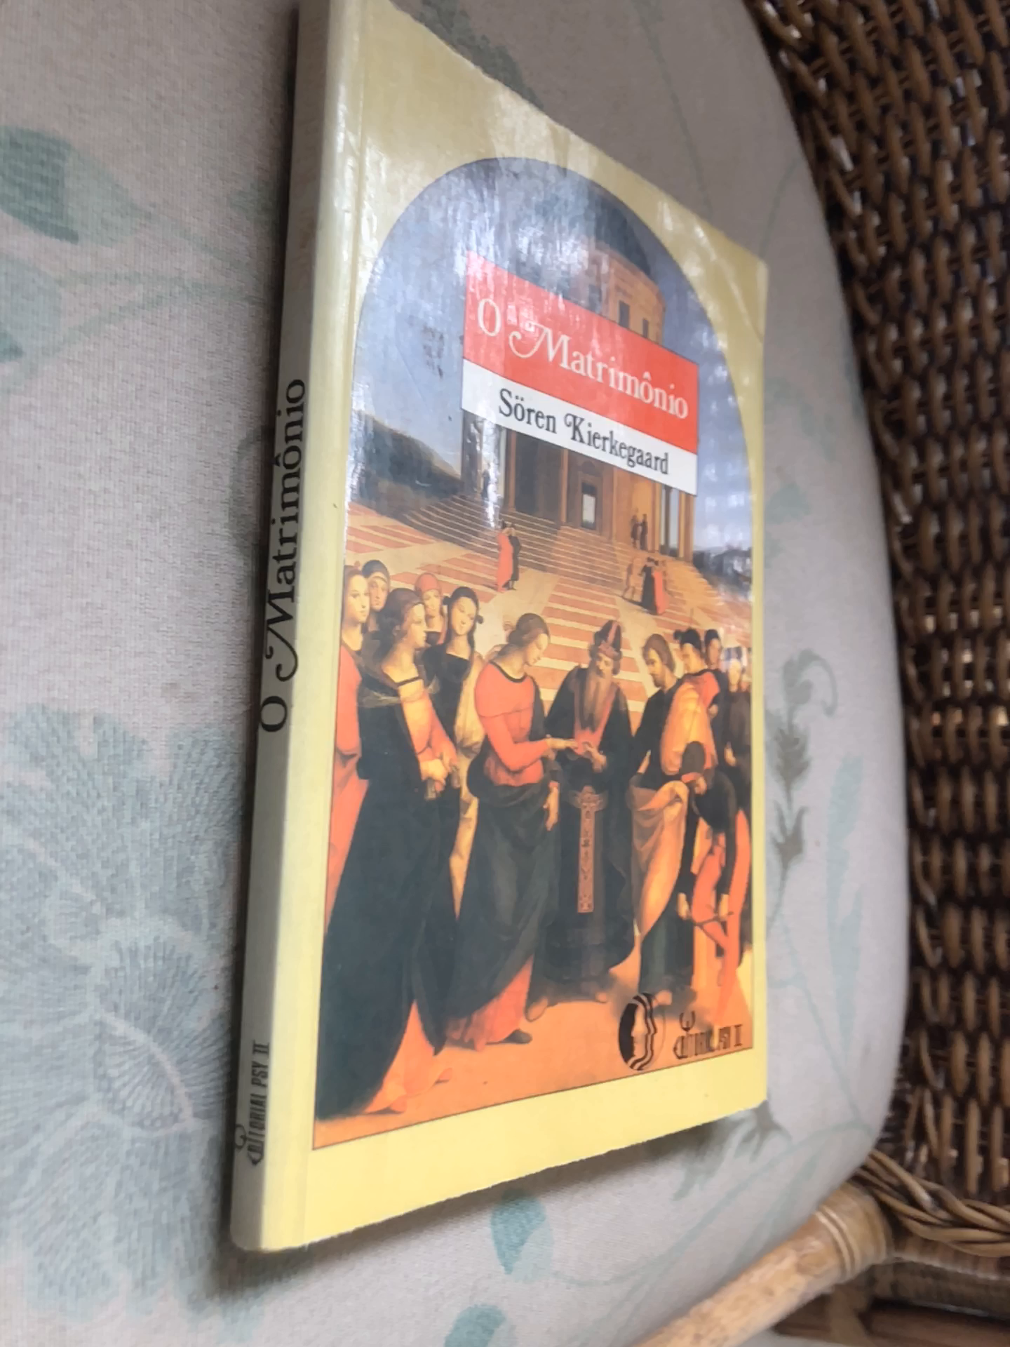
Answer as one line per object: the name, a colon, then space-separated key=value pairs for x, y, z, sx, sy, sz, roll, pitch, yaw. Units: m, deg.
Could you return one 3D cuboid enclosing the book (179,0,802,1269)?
book: x=0.012 y=-0.008 z=0.224 sx=0.141 sy=0.020 sz=0.200 roll=10 pitch=80 yaw=-46
